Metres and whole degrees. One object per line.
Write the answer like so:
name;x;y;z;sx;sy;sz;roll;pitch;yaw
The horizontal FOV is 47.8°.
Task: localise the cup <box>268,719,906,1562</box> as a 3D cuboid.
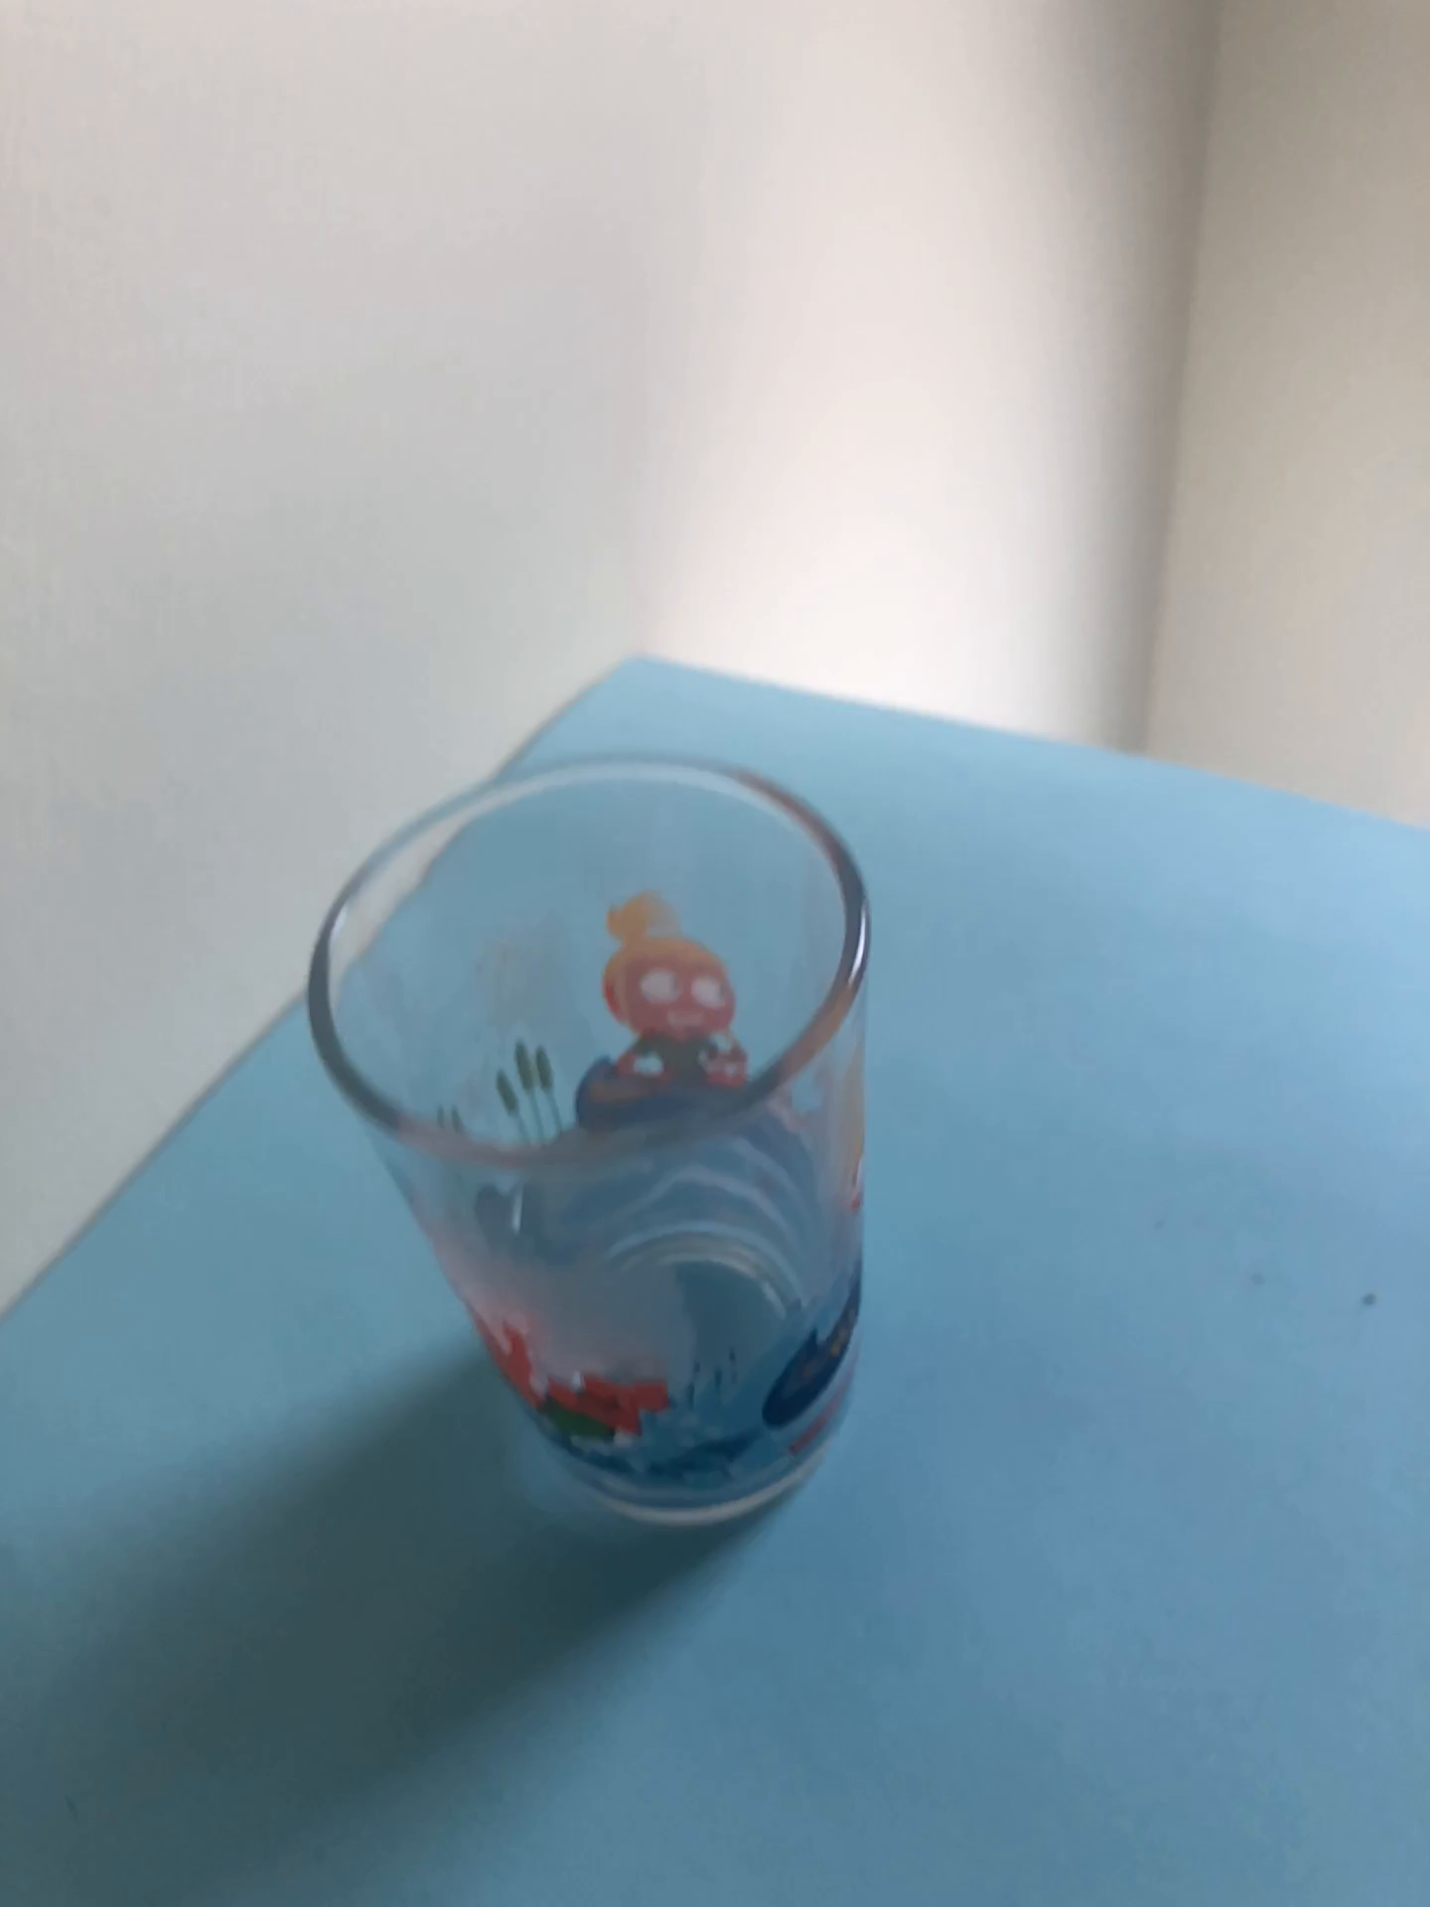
cup;-0.007;0.029;0.212;0.060;0.099;0.060;-4;46;4
